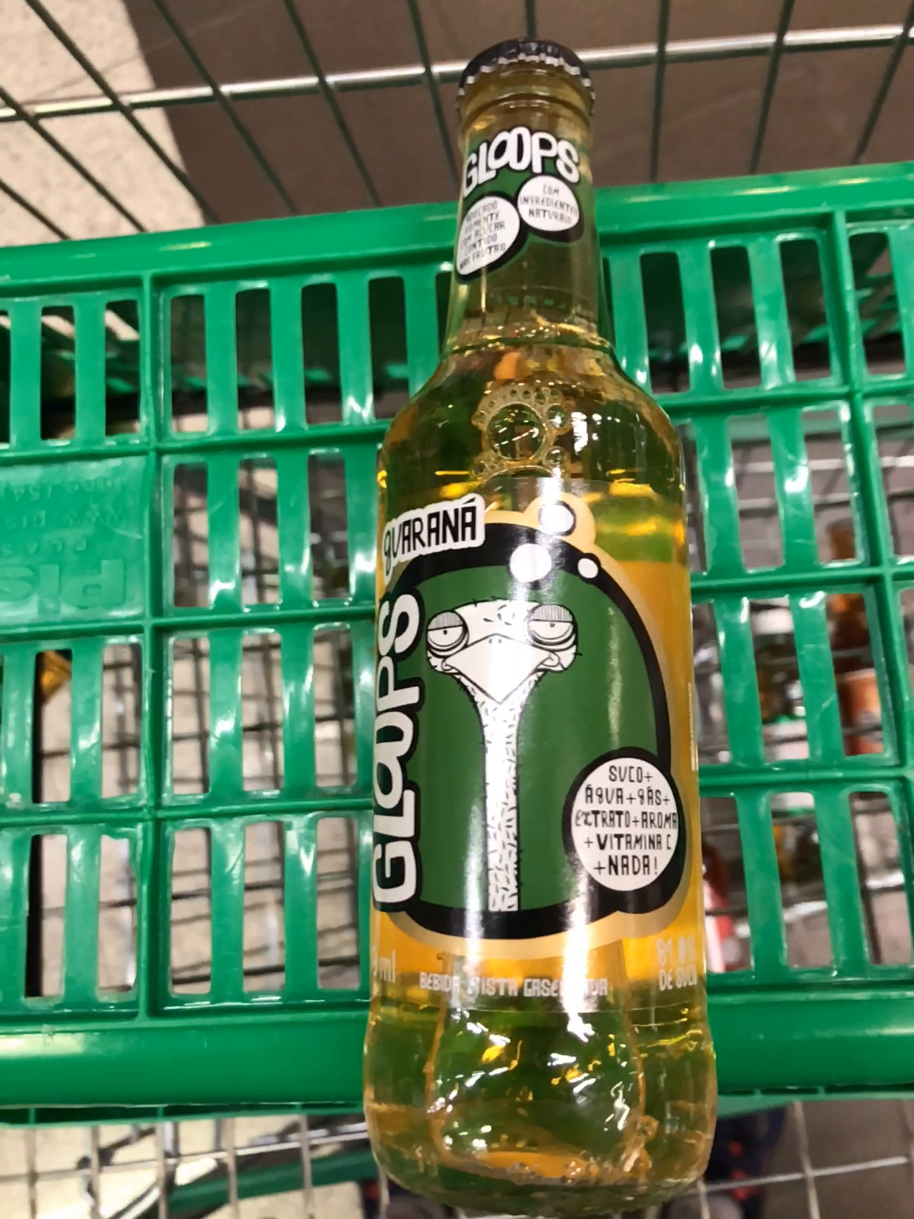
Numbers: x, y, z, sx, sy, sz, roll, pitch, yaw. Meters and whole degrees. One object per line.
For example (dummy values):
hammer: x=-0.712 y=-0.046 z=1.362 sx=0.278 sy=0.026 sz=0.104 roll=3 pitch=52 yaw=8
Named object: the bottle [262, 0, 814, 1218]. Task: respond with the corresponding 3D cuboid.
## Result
bottle: x=0.011 y=-0.009 z=0.180 sx=0.070 sy=0.060 sz=0.220 roll=-2 pitch=80 yaw=5
